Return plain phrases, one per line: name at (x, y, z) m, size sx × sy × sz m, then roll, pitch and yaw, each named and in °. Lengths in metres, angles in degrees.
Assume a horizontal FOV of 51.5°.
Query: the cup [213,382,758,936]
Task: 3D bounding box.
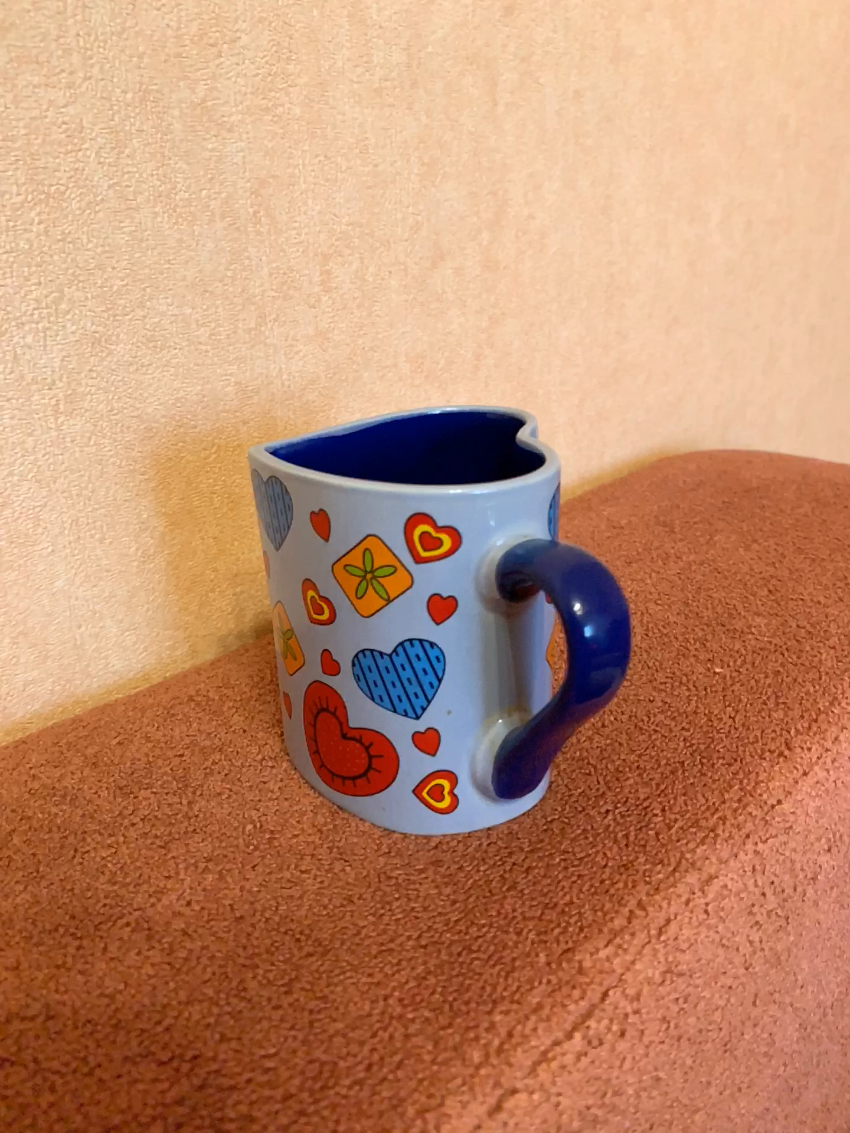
cup at (0.013, 0.011, 0.230) m, size 0.088 × 0.090 × 0.098 m, roll -20°, pitch 29°, yaw -35°
